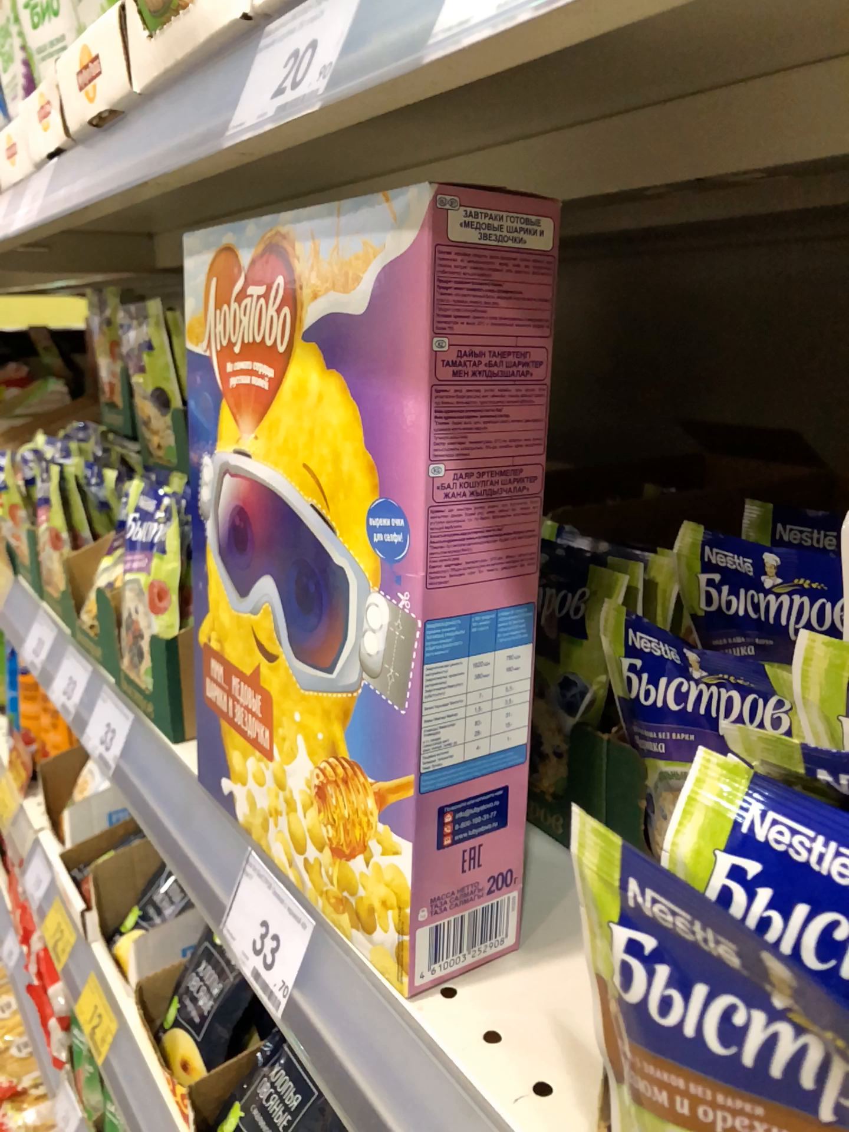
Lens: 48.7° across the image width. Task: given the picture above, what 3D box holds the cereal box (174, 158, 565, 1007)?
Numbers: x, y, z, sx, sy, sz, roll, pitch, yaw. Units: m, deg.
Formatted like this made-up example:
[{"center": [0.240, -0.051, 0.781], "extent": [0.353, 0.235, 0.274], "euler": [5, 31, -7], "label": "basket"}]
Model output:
[{"center": [-0.037, -0.006, 0.373], "extent": [0.050, 0.259, 0.200], "euler": [-7, 15, -33], "label": "cereal box"}]
